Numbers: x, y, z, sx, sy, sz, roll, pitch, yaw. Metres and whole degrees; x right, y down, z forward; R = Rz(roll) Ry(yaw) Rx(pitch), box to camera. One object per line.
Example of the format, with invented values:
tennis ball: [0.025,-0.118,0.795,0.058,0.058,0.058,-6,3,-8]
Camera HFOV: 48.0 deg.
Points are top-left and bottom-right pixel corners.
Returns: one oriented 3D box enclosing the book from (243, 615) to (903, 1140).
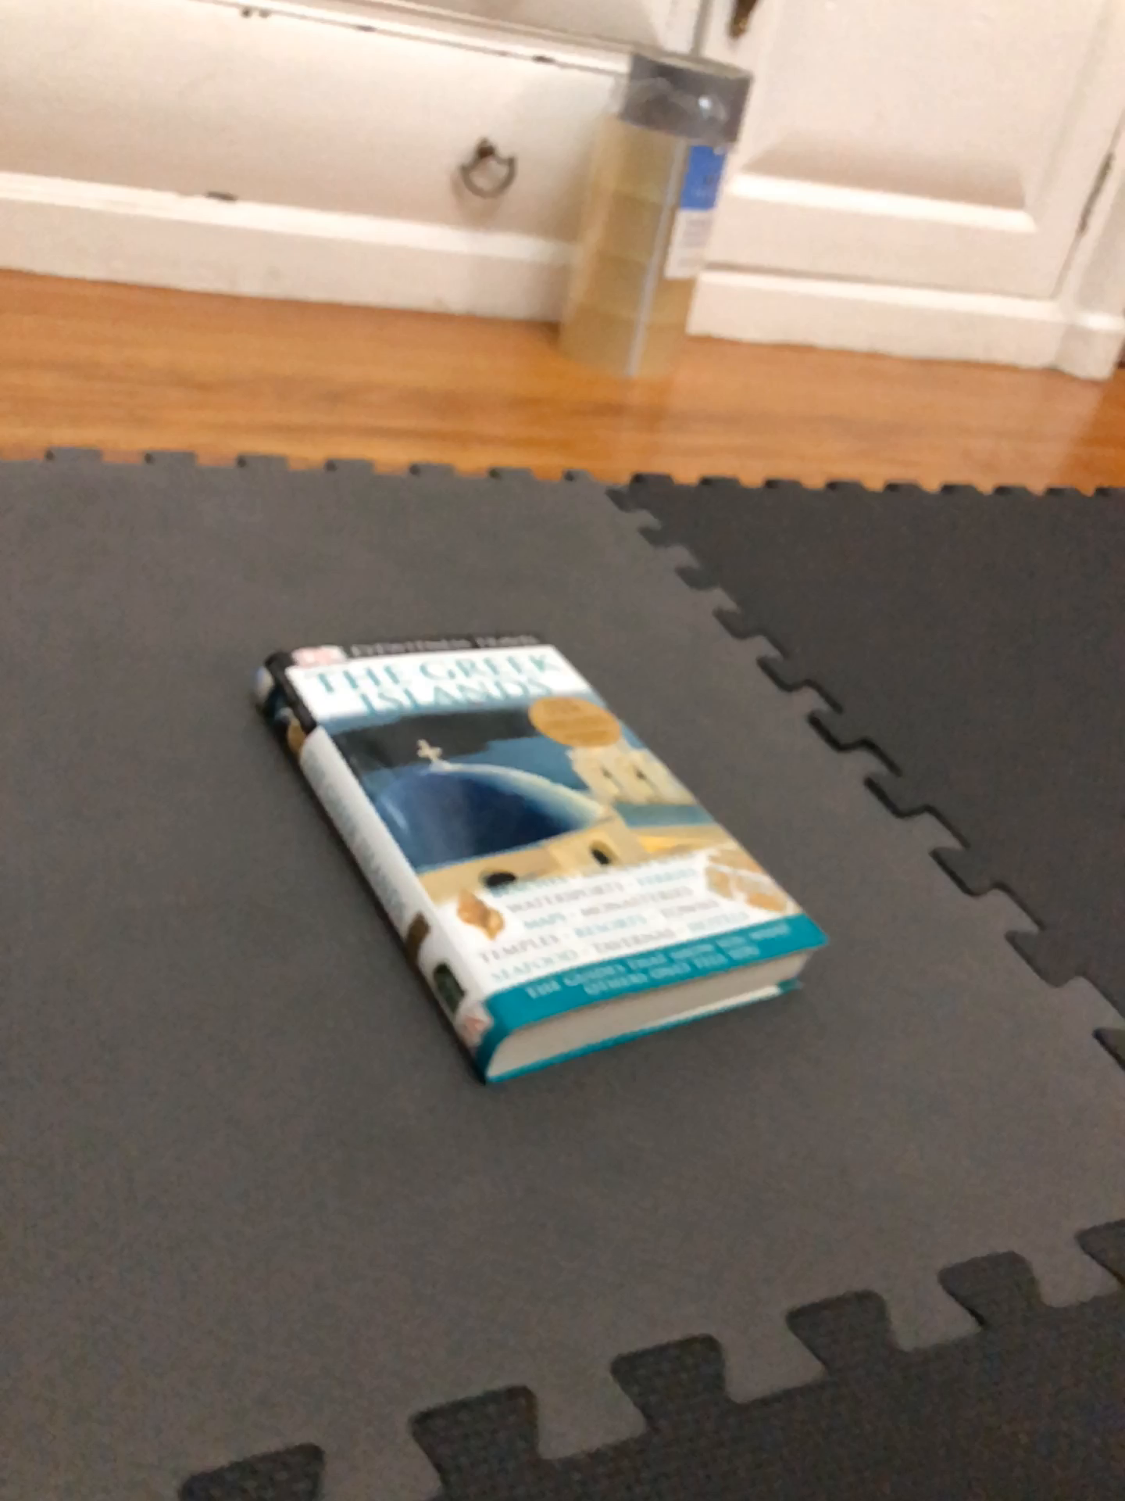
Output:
book: [-0.009,0.026,0.491,0.160,0.030,0.241,-8,39,-29]
